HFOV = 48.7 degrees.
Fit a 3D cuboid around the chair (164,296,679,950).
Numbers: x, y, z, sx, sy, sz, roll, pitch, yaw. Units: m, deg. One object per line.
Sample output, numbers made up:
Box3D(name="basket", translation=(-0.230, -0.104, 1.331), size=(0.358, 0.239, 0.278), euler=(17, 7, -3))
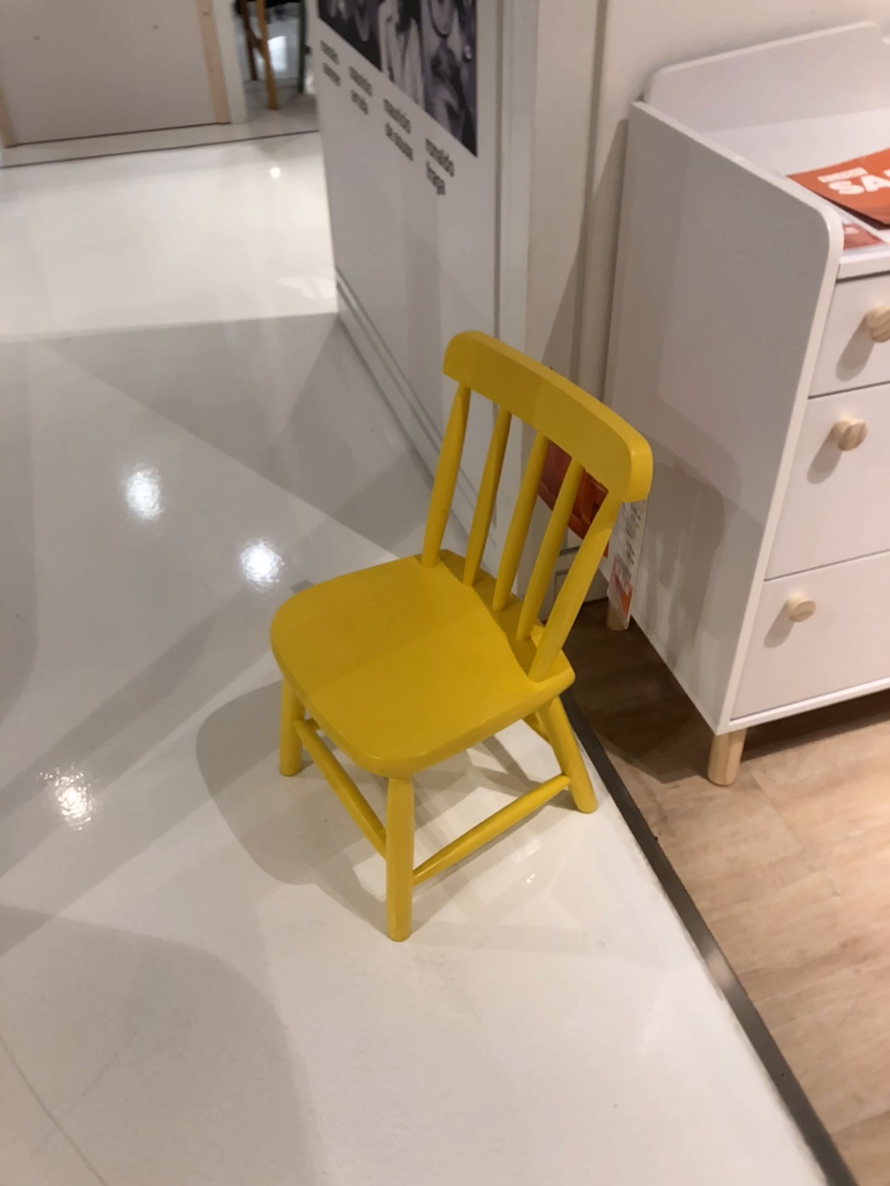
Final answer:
Box3D(name="chair", translation=(-0.028, 0.031, 1.176), size=(0.371, 0.576, 0.382), euler=(-25, 46, -25))
